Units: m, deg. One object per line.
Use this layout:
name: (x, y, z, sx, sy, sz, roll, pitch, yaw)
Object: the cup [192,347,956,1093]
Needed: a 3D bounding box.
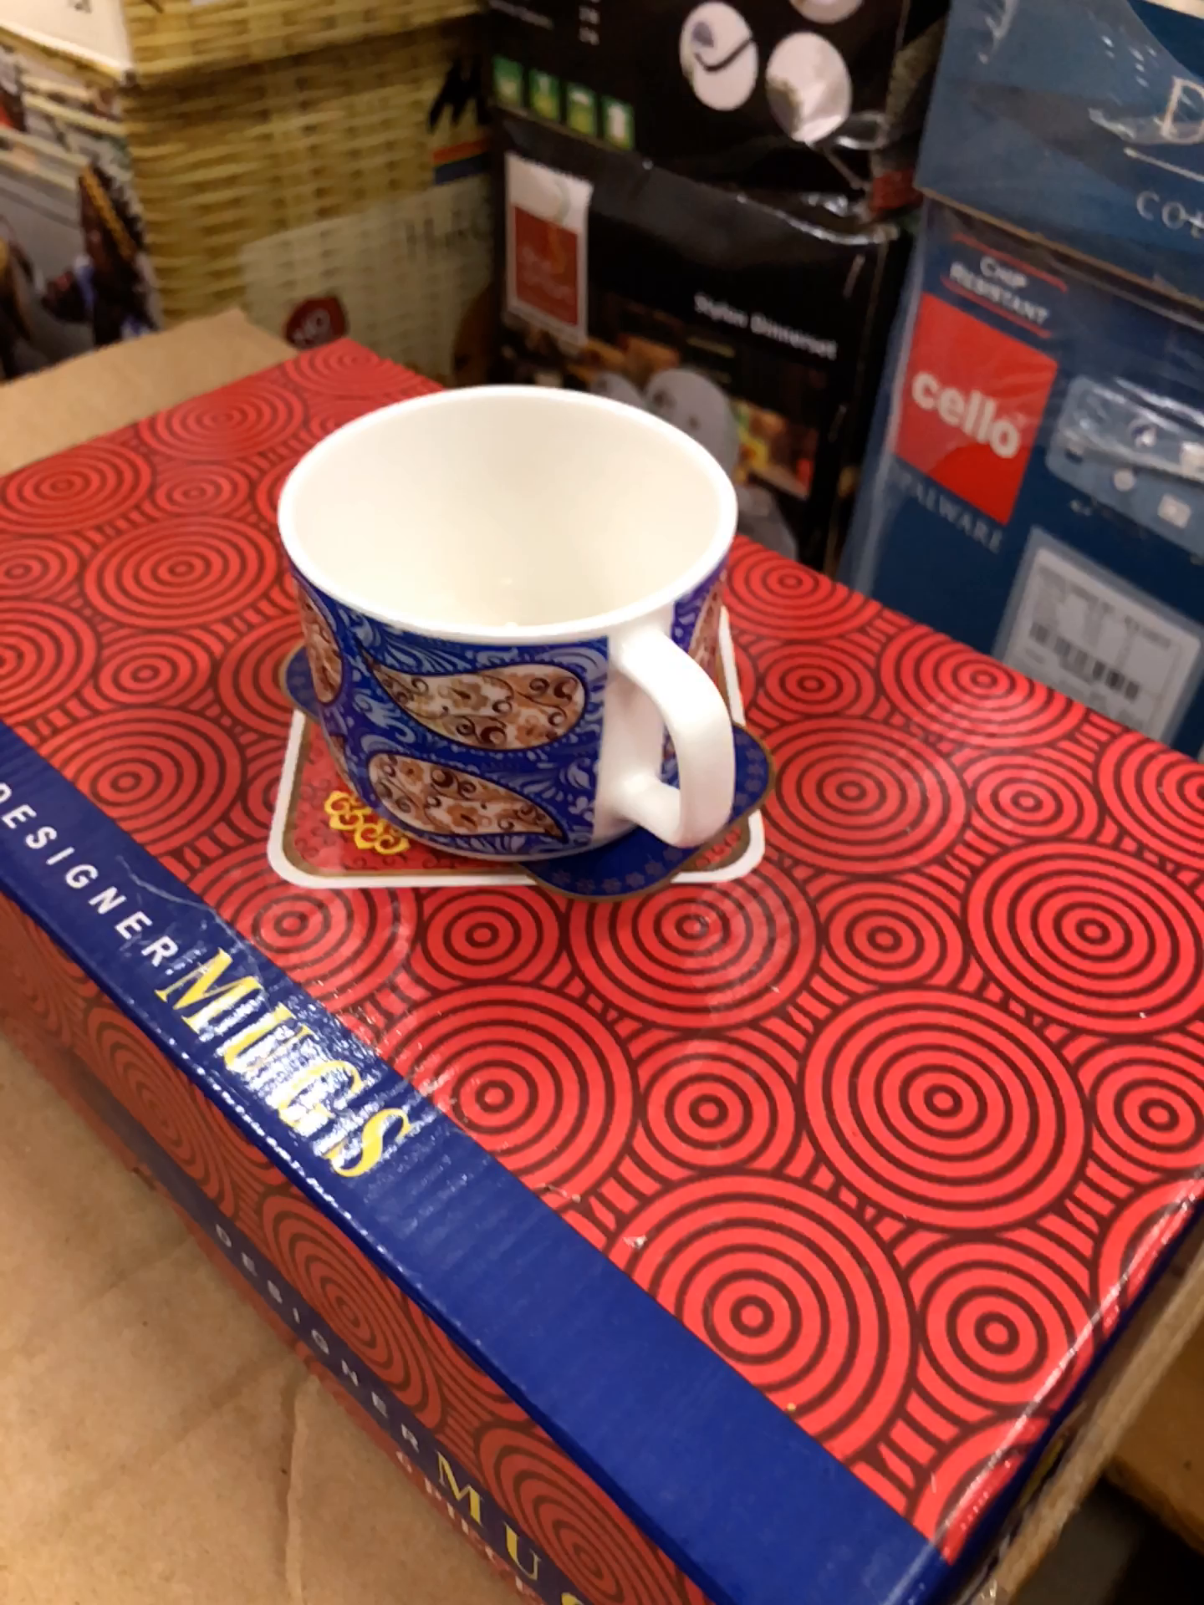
cup: (-0.009, -0.020, 0.227, 0.070, 0.060, 0.100, -28, 52, -29)
